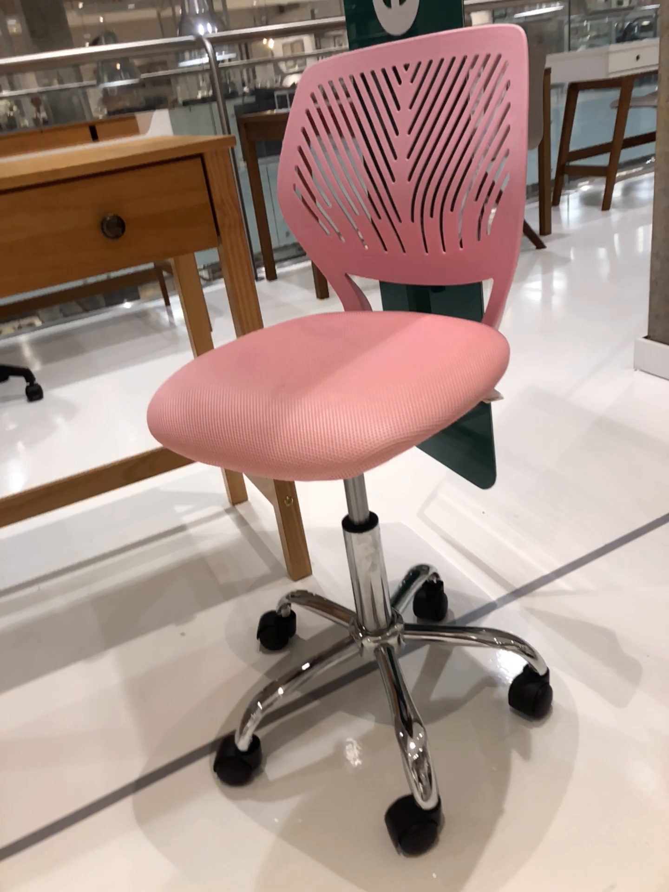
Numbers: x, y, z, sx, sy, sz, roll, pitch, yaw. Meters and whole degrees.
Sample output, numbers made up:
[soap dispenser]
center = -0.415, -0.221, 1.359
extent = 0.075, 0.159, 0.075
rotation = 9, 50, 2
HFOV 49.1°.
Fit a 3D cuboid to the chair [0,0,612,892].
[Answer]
[chair]
center = 0.016, -0.043, 0.896
extent = 0.501, 0.834, 0.523
rotation = 7, 30, 30
